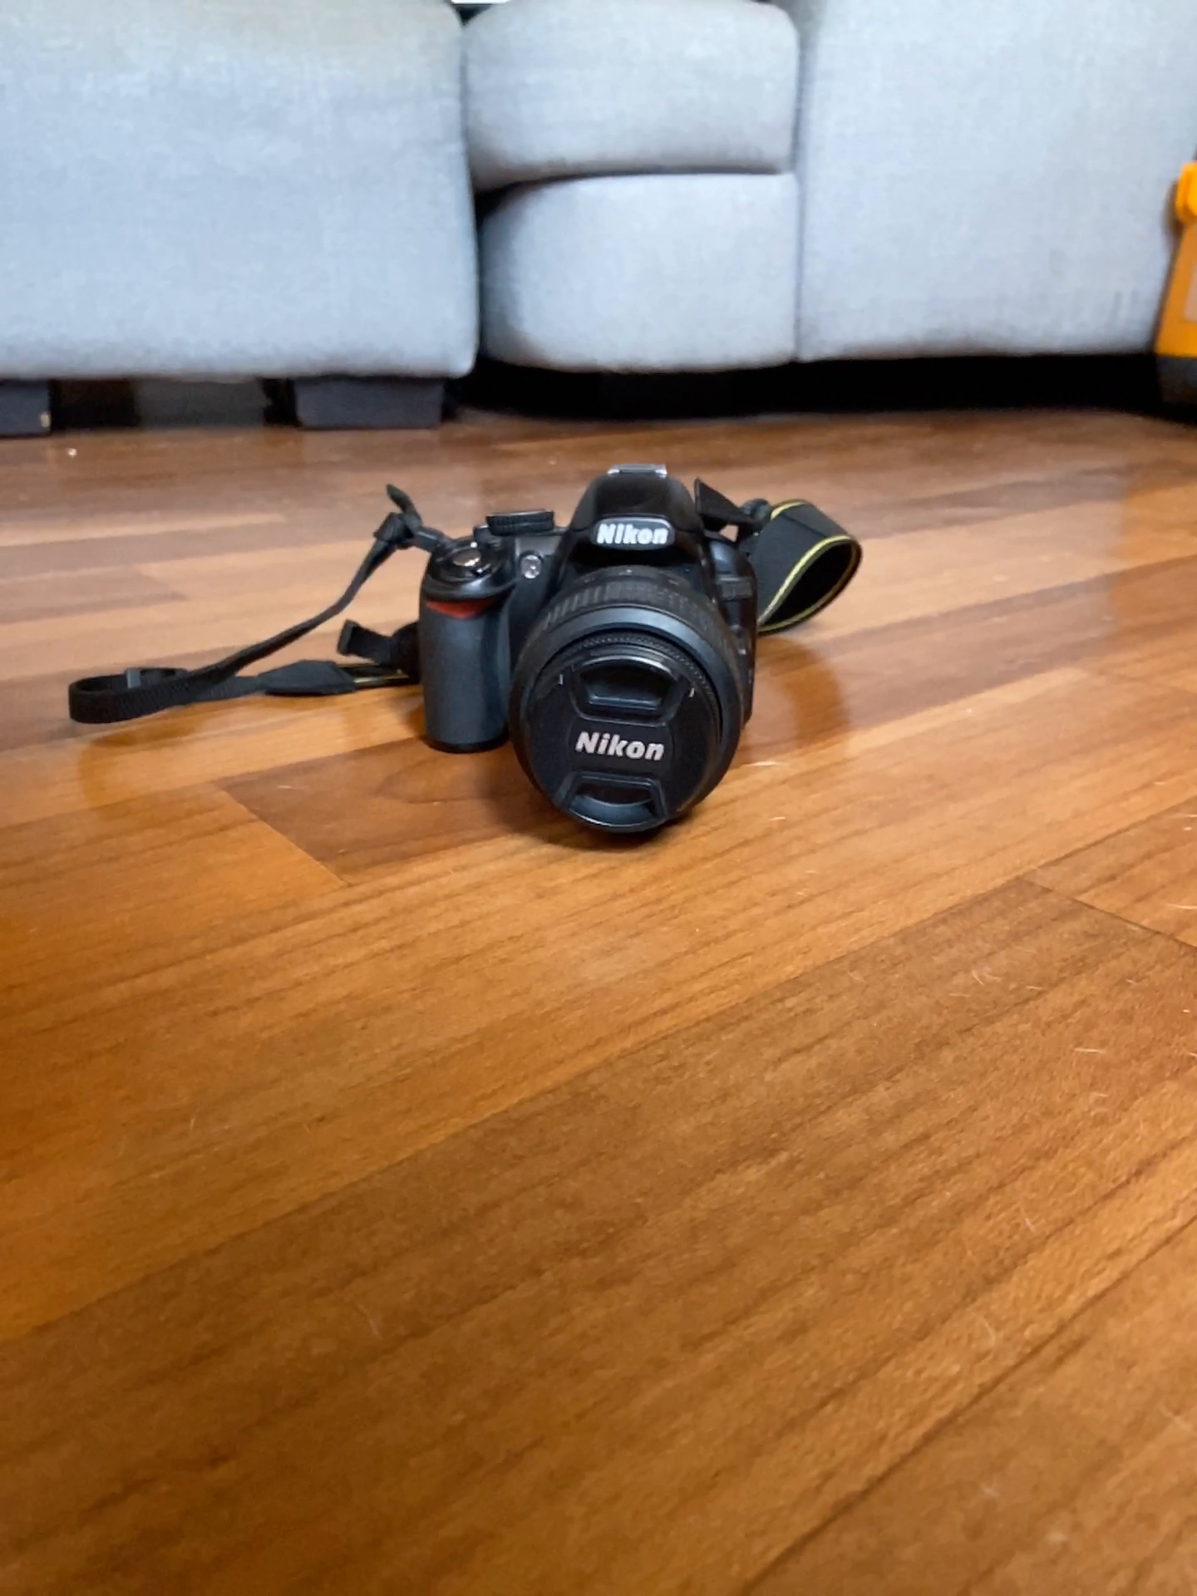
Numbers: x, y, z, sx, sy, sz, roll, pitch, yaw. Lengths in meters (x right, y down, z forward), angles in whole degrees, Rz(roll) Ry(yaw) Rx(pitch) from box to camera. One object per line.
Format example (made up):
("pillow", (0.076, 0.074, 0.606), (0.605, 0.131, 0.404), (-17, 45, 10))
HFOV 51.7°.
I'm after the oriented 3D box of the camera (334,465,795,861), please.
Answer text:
("camera", (-0.006, -0.055, 0.414), (0.120, 0.090, 0.162), (1, 22, 2))
